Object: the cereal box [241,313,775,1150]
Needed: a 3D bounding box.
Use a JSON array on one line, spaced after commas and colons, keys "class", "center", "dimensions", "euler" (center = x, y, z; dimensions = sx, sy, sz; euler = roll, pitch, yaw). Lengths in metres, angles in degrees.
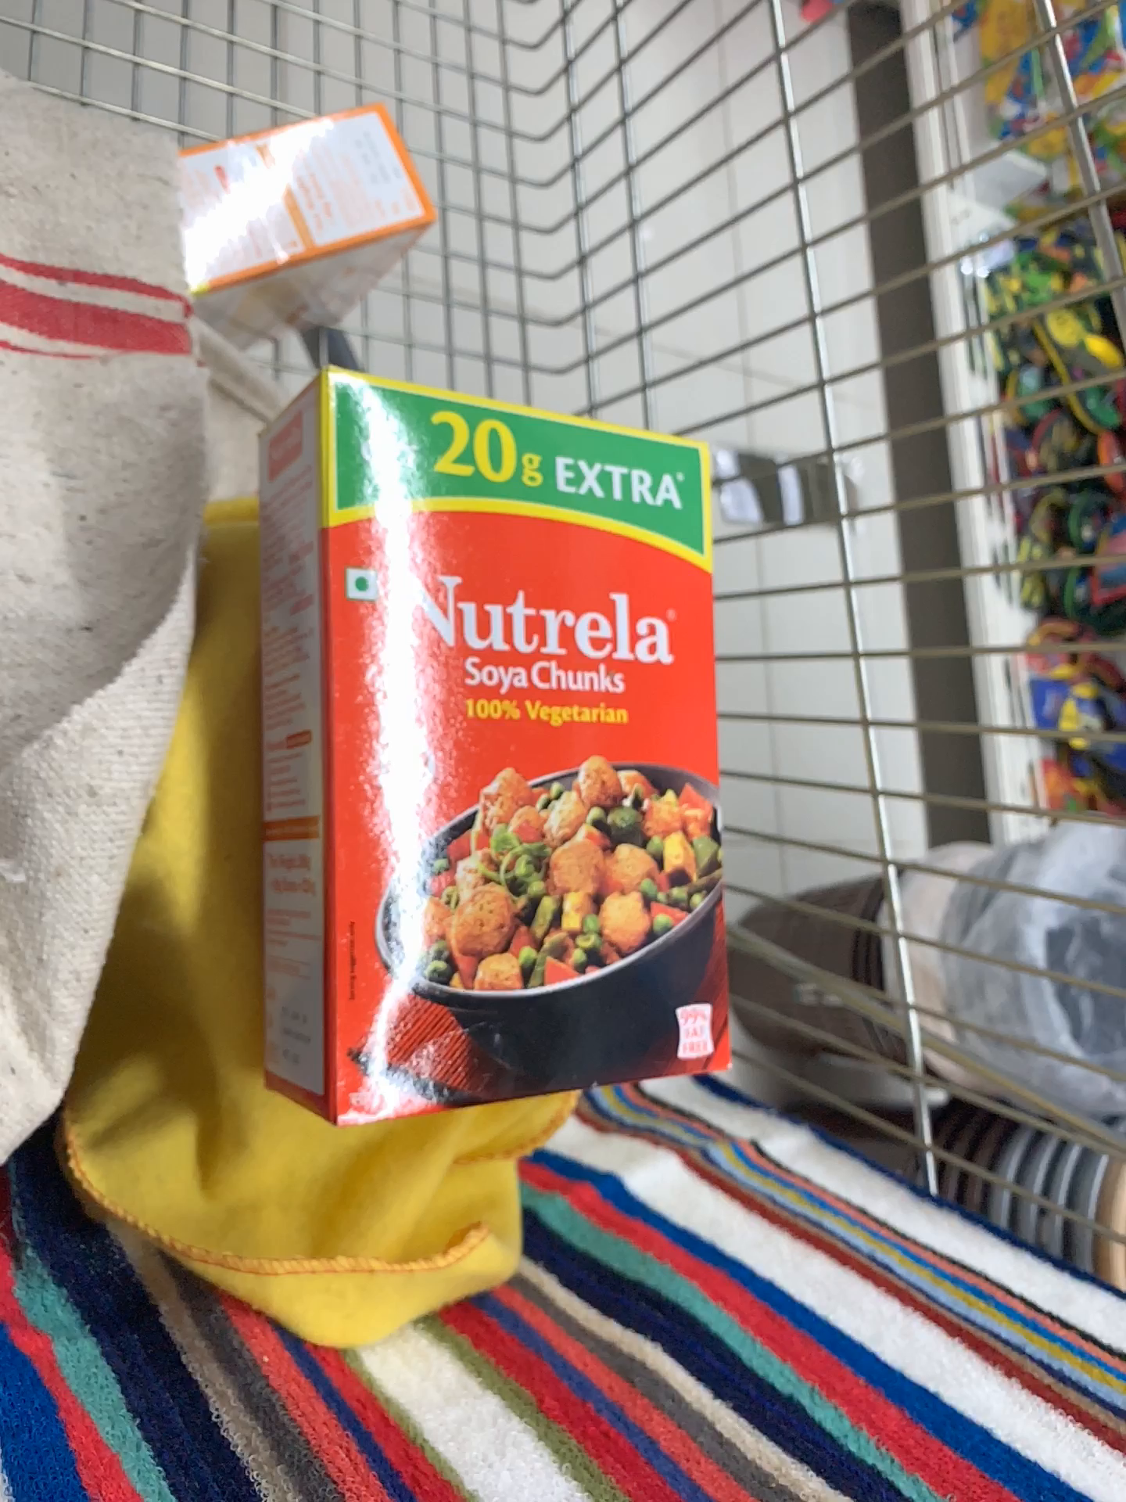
[{"class": "cereal box", "center": [-0.015, -0.003, 0.308], "dimensions": [0.120, 0.060, 0.180], "euler": [1, 84, -32]}]
